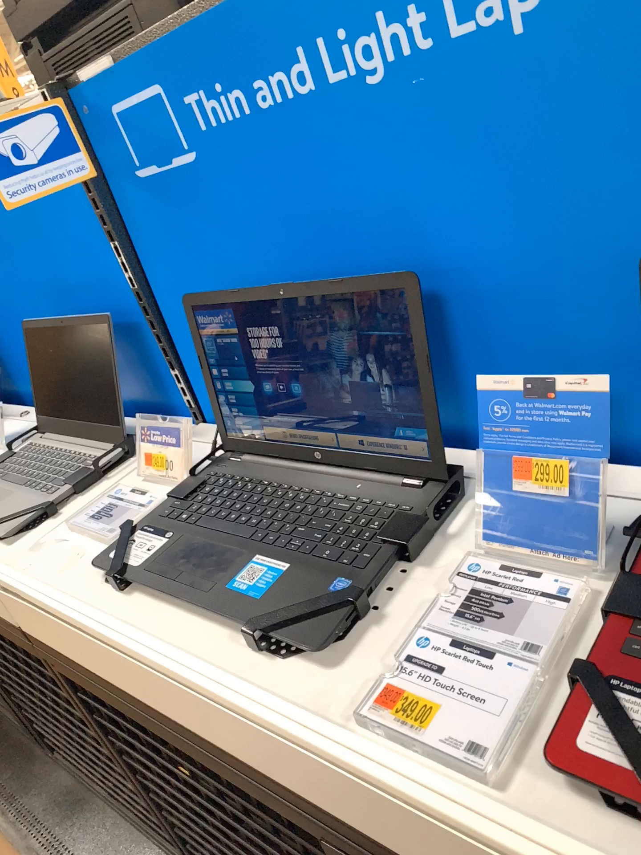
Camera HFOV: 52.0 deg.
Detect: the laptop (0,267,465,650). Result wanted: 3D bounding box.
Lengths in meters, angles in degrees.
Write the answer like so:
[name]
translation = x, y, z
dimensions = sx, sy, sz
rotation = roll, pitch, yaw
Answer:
[laptop]
translation = -0.092, 0.004, 0.721
dimensions = 0.364, 0.225, 0.286
rotation = 5, 36, 41
